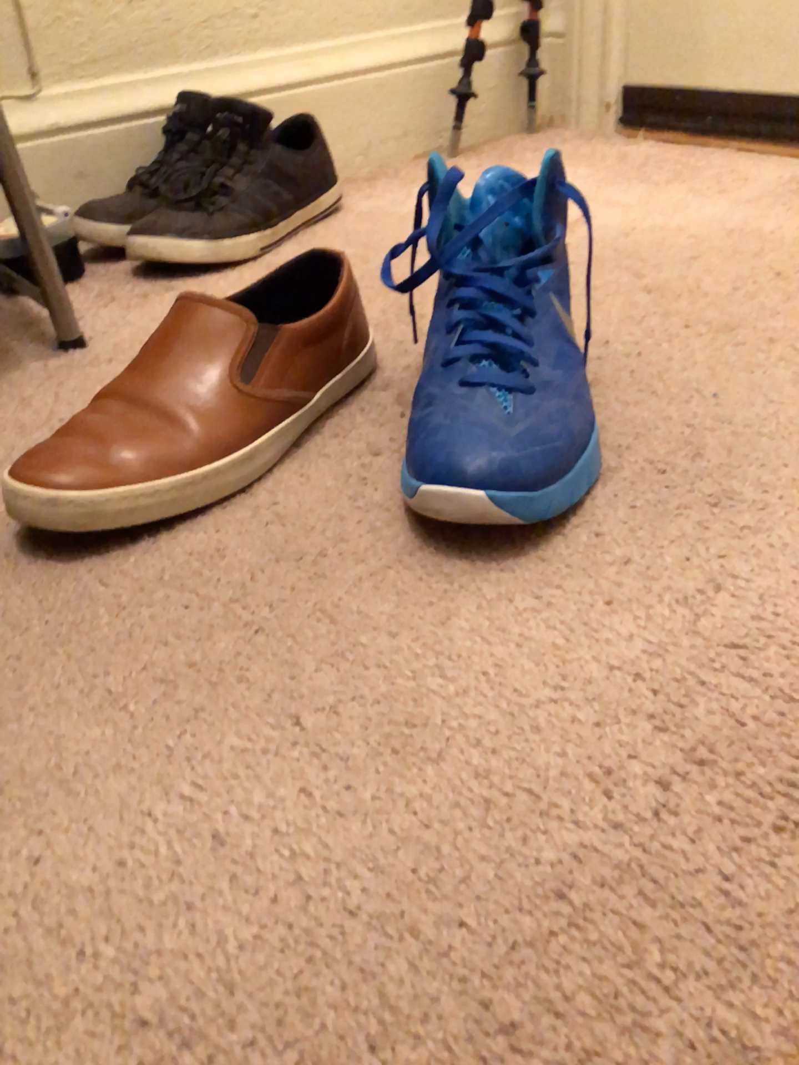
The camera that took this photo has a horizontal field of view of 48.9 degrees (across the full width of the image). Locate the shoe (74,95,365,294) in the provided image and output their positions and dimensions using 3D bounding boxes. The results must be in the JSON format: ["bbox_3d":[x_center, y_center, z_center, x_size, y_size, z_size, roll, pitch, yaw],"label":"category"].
[{"bbox_3d":[-0.162,-0.350,0.882,0.115,0.112,0.294,13,39,25],"label":"shoe"}]

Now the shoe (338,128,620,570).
[{"bbox_3d":[0.063,-0.127,0.516,0.115,0.142,0.294,2,35,11],"label":"shoe"}]

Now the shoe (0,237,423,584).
[{"bbox_3d":[-0.112,-0.094,0.540,0.105,0.083,0.283,19,42,32],"label":"shoe"}]

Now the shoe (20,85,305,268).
[{"bbox_3d":[-0.237,-0.392,0.943,0.115,0.112,0.294,13,39,25],"label":"shoe"}]
